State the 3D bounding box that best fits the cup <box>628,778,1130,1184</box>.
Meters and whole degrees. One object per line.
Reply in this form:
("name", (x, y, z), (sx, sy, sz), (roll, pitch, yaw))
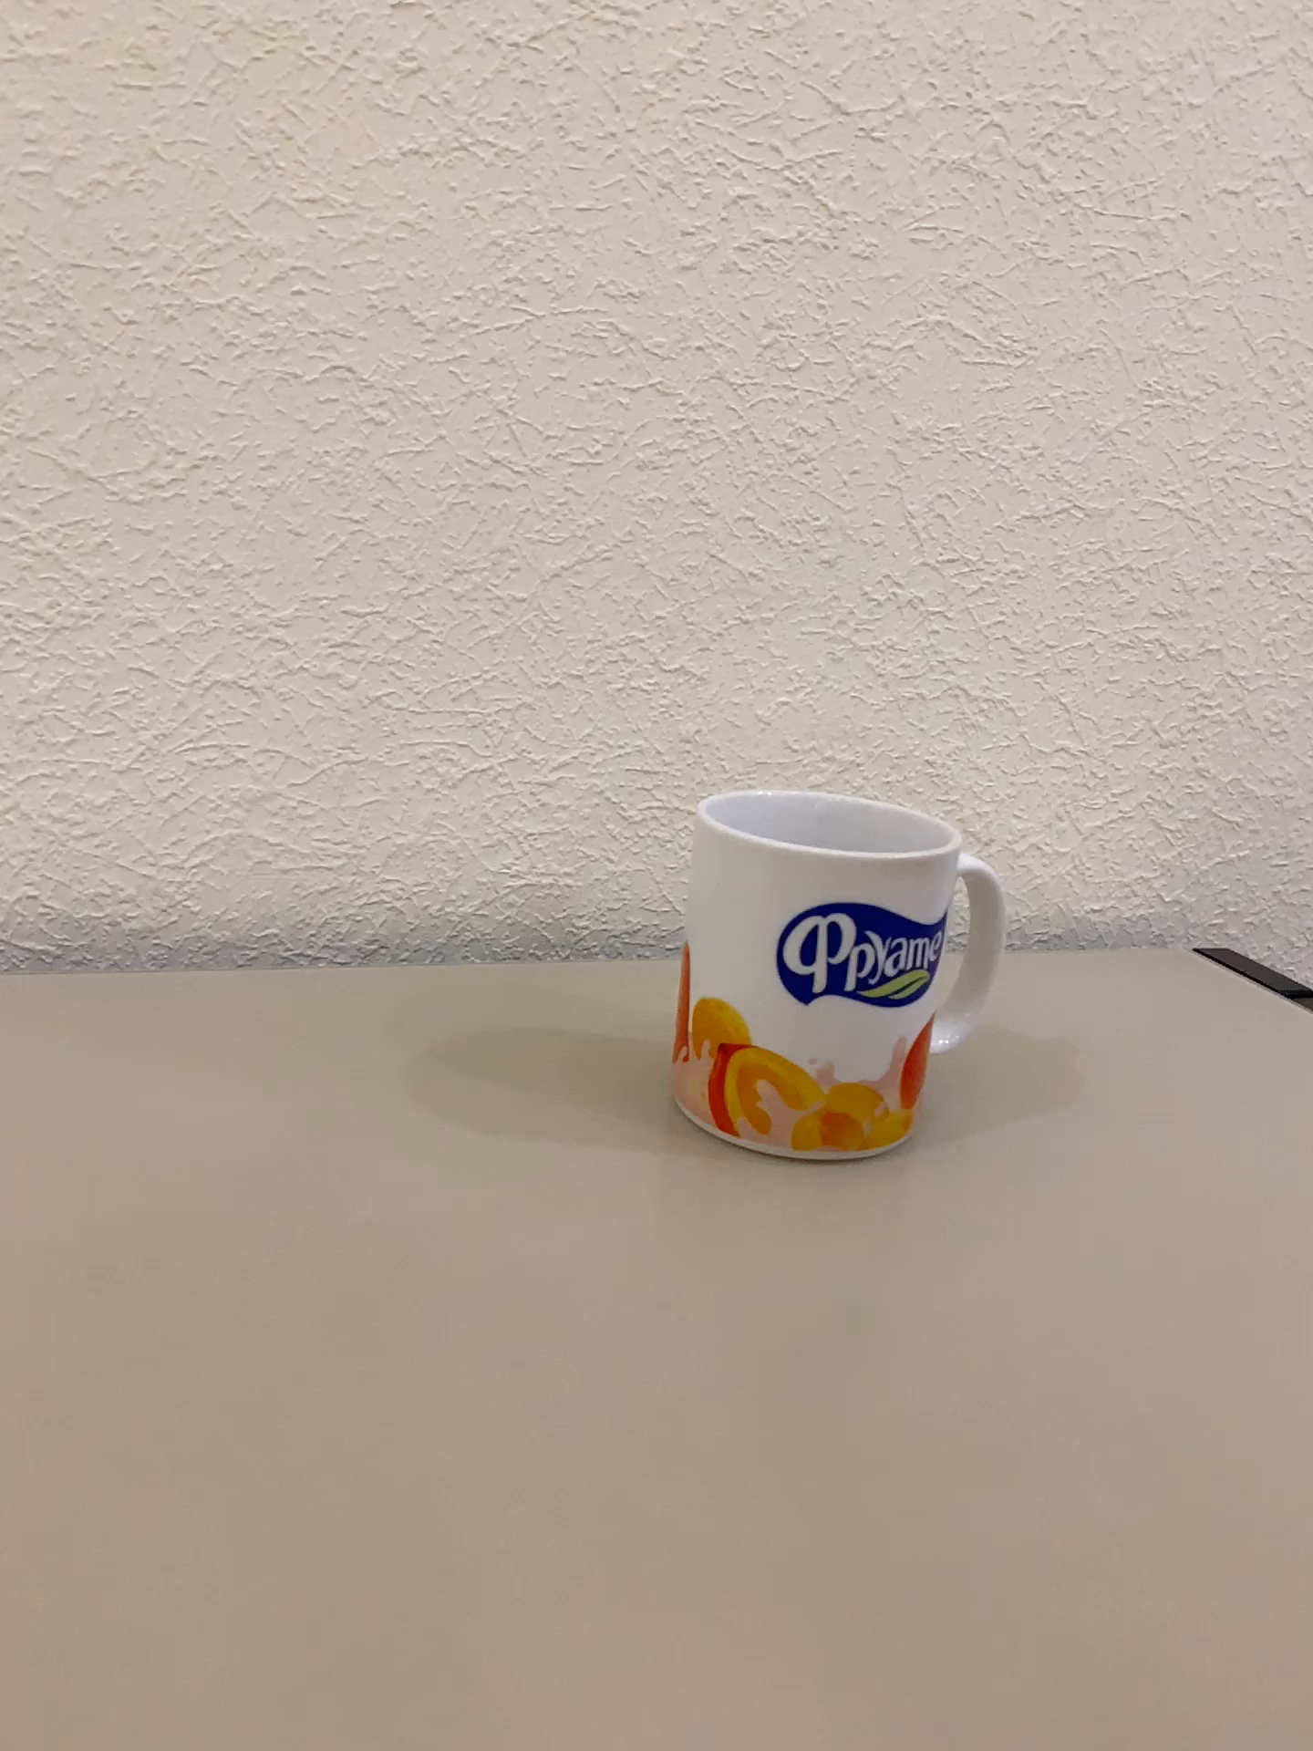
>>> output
("cup", (0.066, 0.025, 0.414), (0.116, 0.092, 0.081), (-3, 18, -30))
